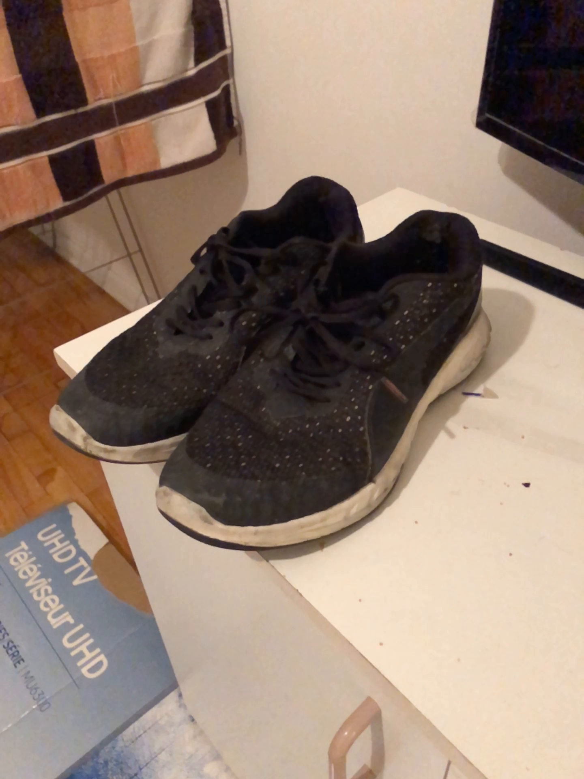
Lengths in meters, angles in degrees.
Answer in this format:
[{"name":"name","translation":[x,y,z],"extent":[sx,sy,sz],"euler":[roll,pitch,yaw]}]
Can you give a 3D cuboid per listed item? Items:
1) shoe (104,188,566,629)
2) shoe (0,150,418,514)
[{"name":"shoe","translation":[0.049,-0.017,0.424],"extent":[0.120,0.099,0.310],"euler":[27,49,30]},{"name":"shoe","translation":[-0.044,-0.067,0.476],"extent":[0.120,0.099,0.310],"euler":[27,49,30]}]
